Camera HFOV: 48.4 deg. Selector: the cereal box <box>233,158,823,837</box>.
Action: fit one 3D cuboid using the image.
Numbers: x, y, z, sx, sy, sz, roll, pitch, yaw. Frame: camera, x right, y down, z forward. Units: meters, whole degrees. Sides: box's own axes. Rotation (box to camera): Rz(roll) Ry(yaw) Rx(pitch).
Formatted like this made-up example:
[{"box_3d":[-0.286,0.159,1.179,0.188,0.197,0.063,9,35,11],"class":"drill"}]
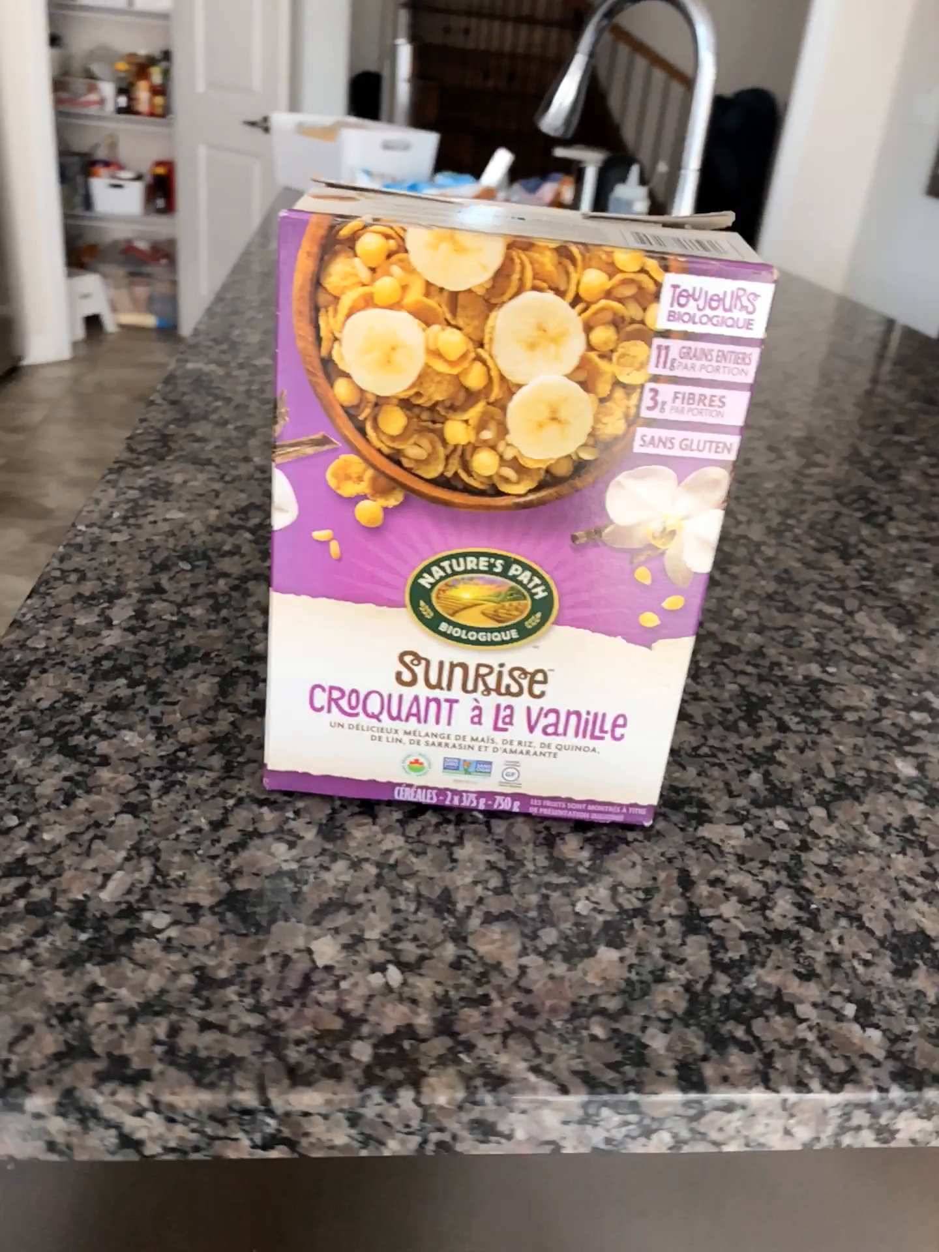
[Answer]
[{"box_3d":[0.008,-0.049,0.418,0.180,0.229,0.110,5,28,-2],"class":"cereal box"}]
